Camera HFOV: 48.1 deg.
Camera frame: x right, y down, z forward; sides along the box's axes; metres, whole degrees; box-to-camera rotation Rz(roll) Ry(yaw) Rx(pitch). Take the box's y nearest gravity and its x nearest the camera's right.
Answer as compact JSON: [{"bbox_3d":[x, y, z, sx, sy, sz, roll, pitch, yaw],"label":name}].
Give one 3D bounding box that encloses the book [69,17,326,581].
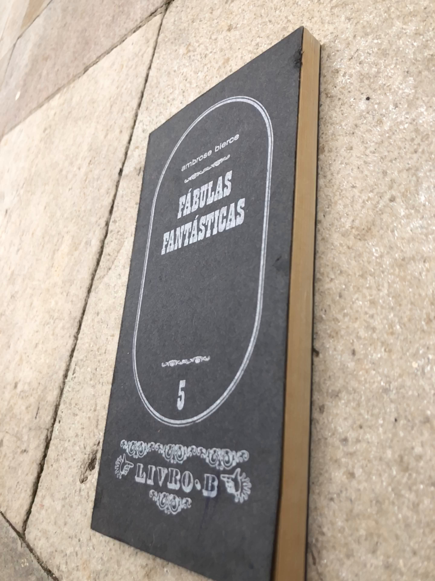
[{"bbox_3d":[-0.009,0.002,0.179,0.105,0.013,0.176,-15,63,47],"label":"book"}]
